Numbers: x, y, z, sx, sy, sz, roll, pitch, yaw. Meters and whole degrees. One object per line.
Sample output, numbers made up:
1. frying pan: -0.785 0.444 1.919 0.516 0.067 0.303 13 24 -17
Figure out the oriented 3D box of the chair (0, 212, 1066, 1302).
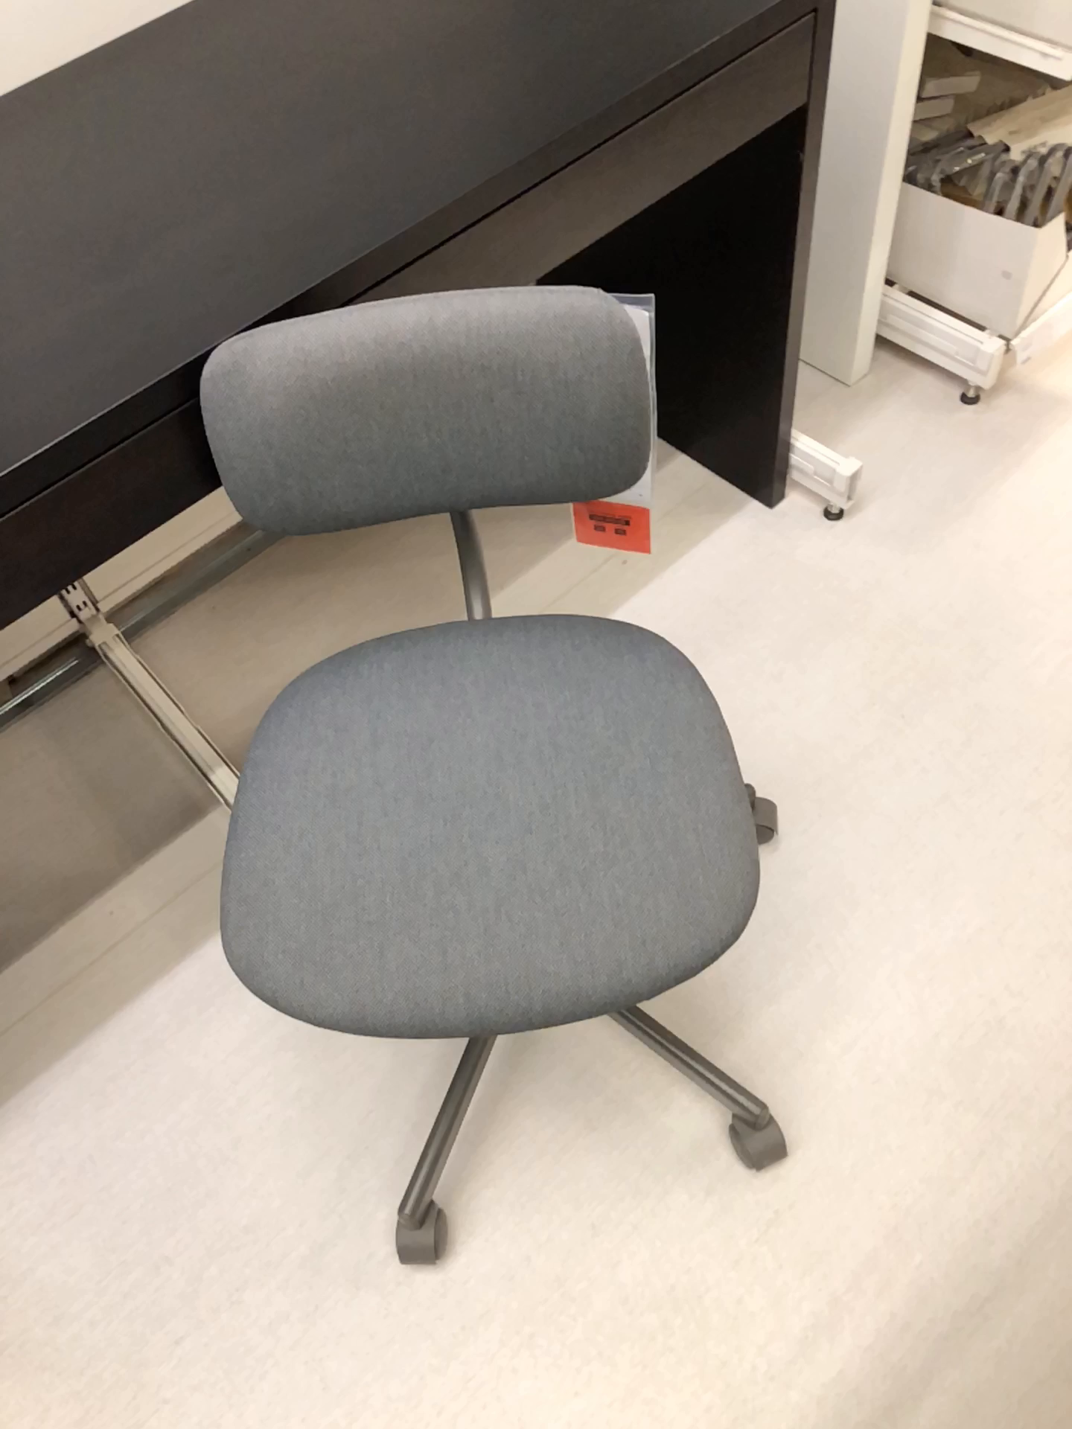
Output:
1. chair: -0.051 0.088 1.005 0.620 0.676 0.593 -7 54 2
